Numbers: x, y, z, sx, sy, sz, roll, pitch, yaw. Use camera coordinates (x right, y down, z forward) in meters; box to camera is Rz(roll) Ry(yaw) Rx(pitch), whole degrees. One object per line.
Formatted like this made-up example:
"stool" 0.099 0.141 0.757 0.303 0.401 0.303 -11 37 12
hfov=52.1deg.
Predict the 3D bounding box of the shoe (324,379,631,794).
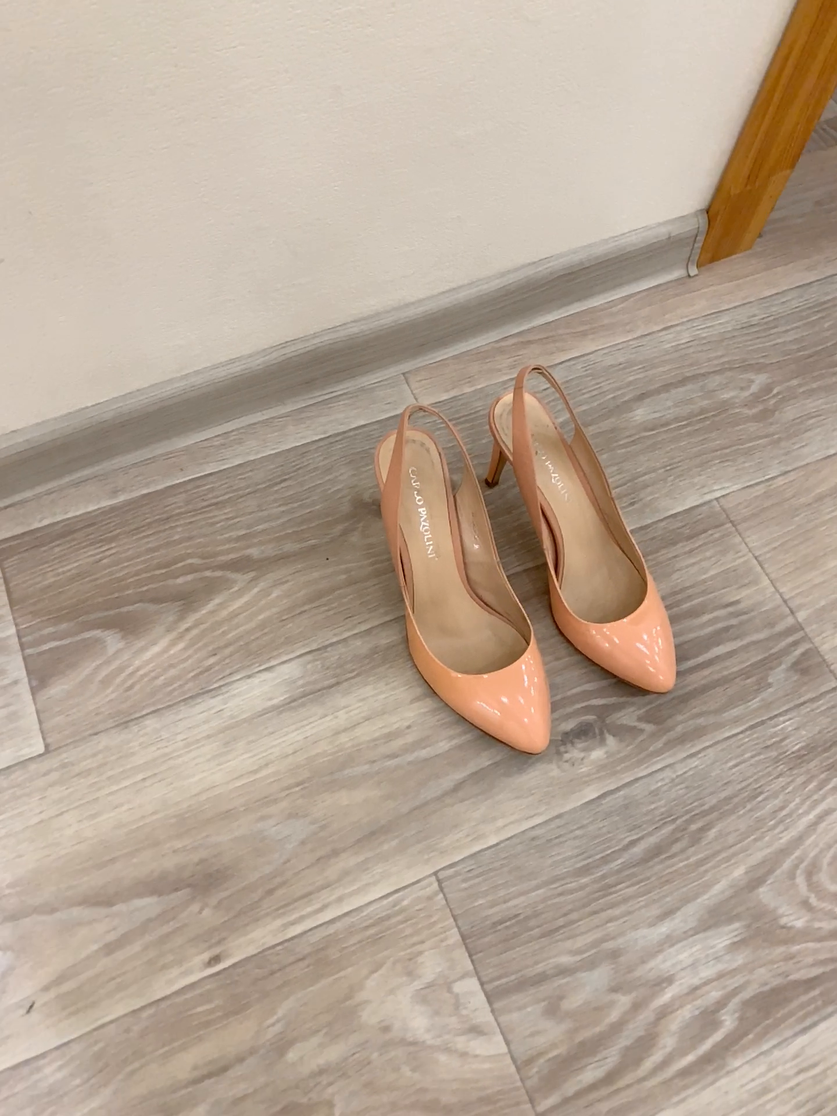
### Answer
"shoe" 0.027 0.018 0.583 0.090 0.120 0.240 -22 66 -14

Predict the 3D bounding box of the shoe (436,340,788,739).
"shoe" 0.118 -0.014 0.601 0.090 0.120 0.240 -27 67 -17
